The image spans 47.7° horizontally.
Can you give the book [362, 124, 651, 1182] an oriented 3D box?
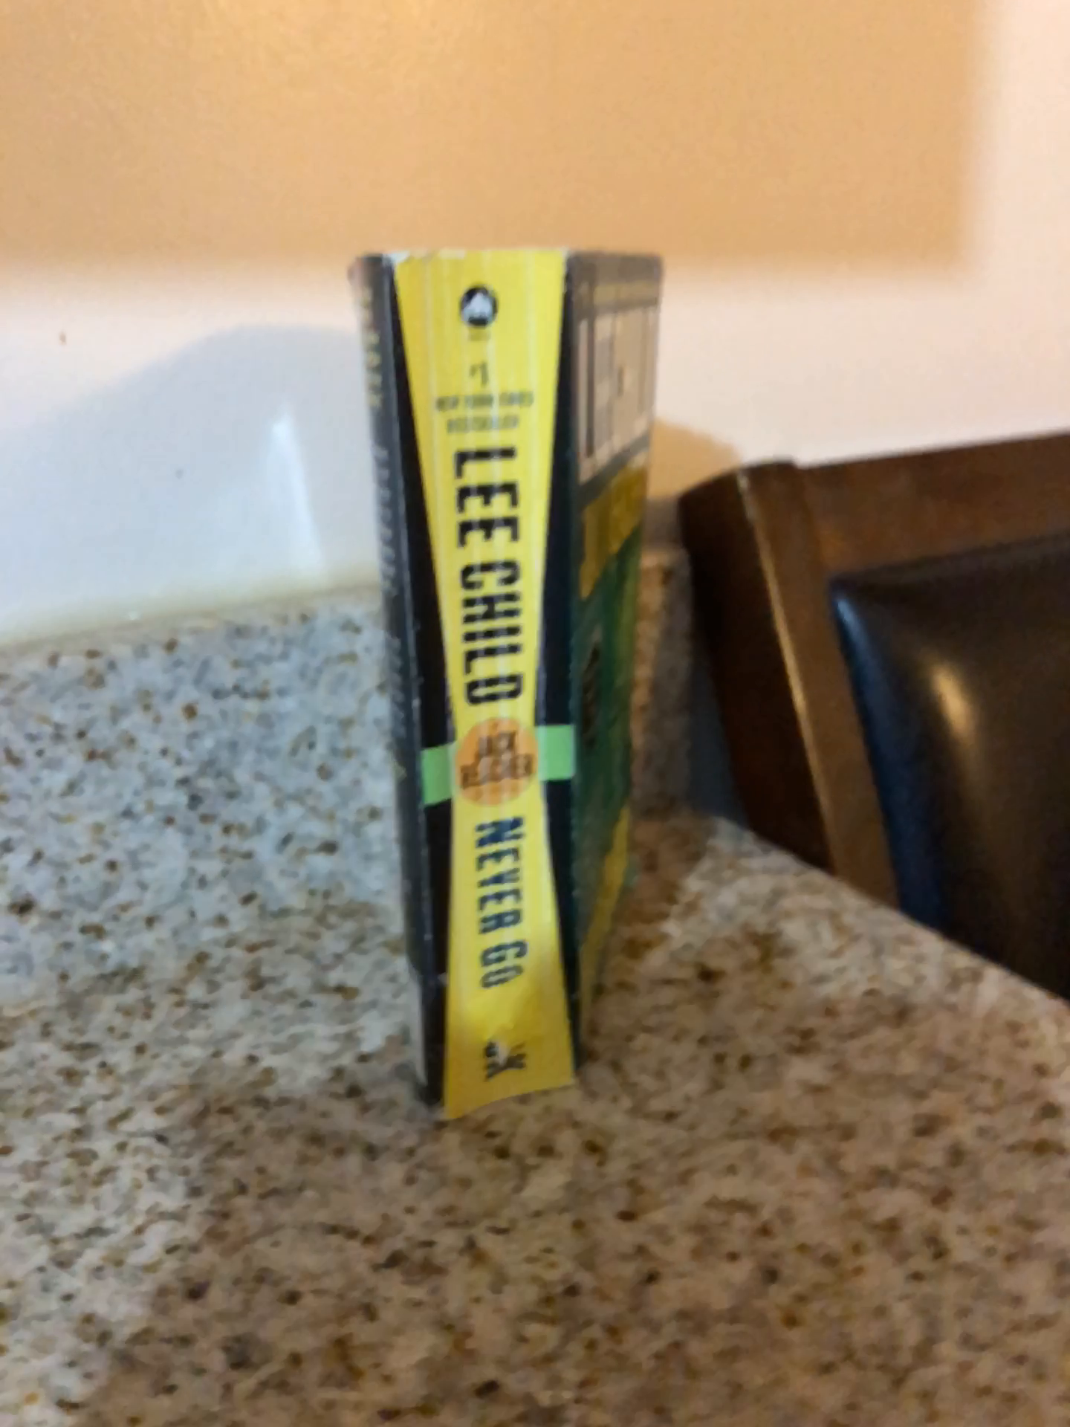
[{"bbox_3d":[-0.007,-0.023,0.319,0.050,0.219,0.161,-1,18,-2],"label":"book"}]
